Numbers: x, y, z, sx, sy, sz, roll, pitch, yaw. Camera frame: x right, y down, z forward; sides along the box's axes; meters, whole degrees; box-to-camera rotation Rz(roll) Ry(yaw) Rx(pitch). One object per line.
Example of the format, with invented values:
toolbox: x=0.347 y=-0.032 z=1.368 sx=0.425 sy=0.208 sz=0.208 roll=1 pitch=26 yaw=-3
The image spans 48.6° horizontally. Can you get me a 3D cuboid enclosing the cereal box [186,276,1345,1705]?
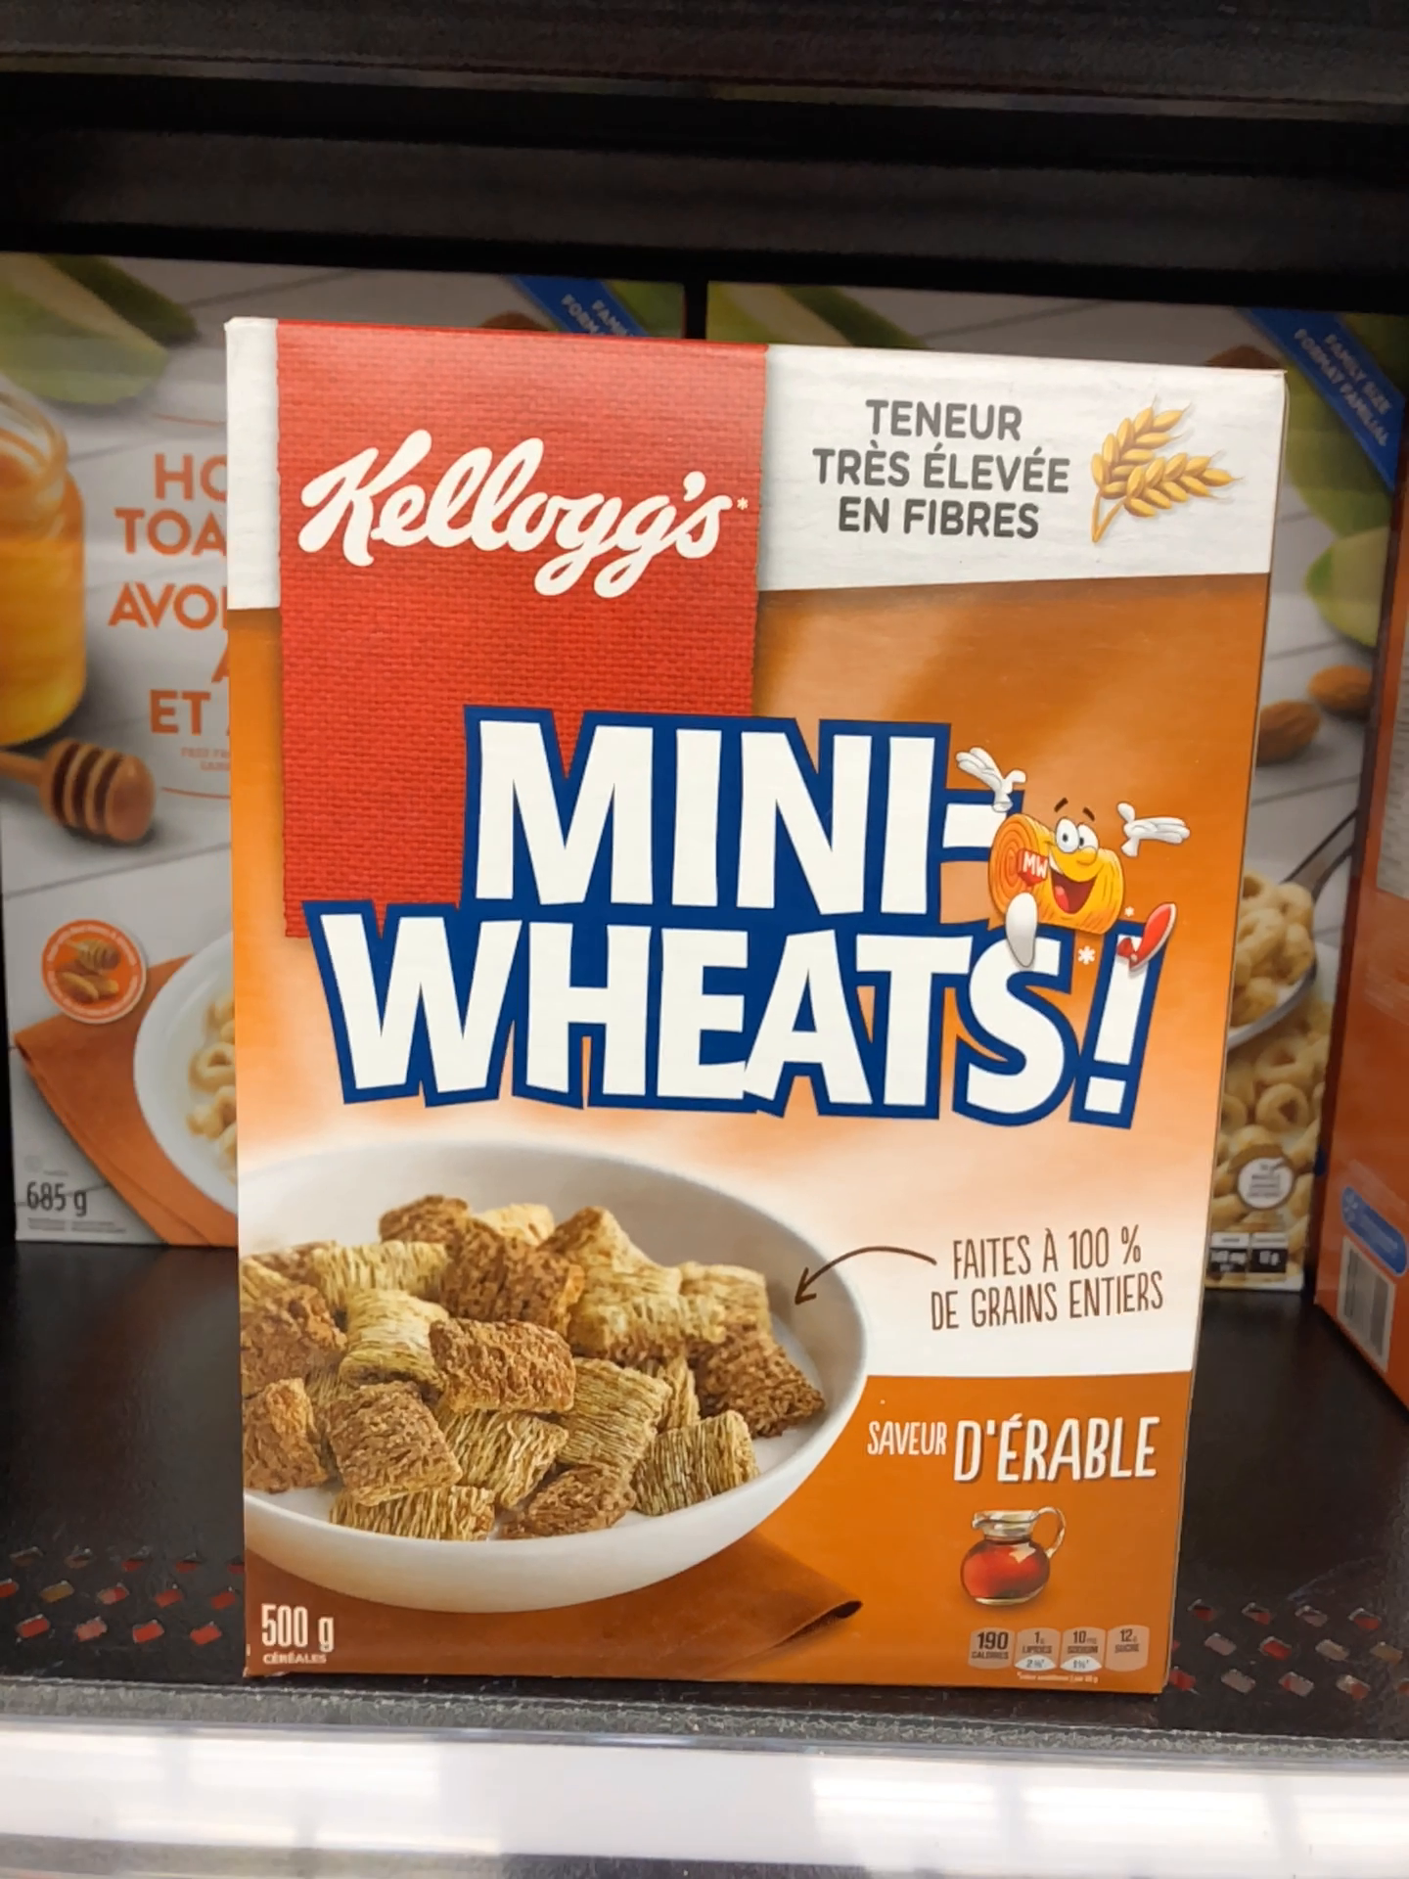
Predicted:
cereal box: x=0.006 y=0.015 z=0.324 sx=0.200 sy=0.269 sz=0.060 roll=2 pitch=11 yaw=0
